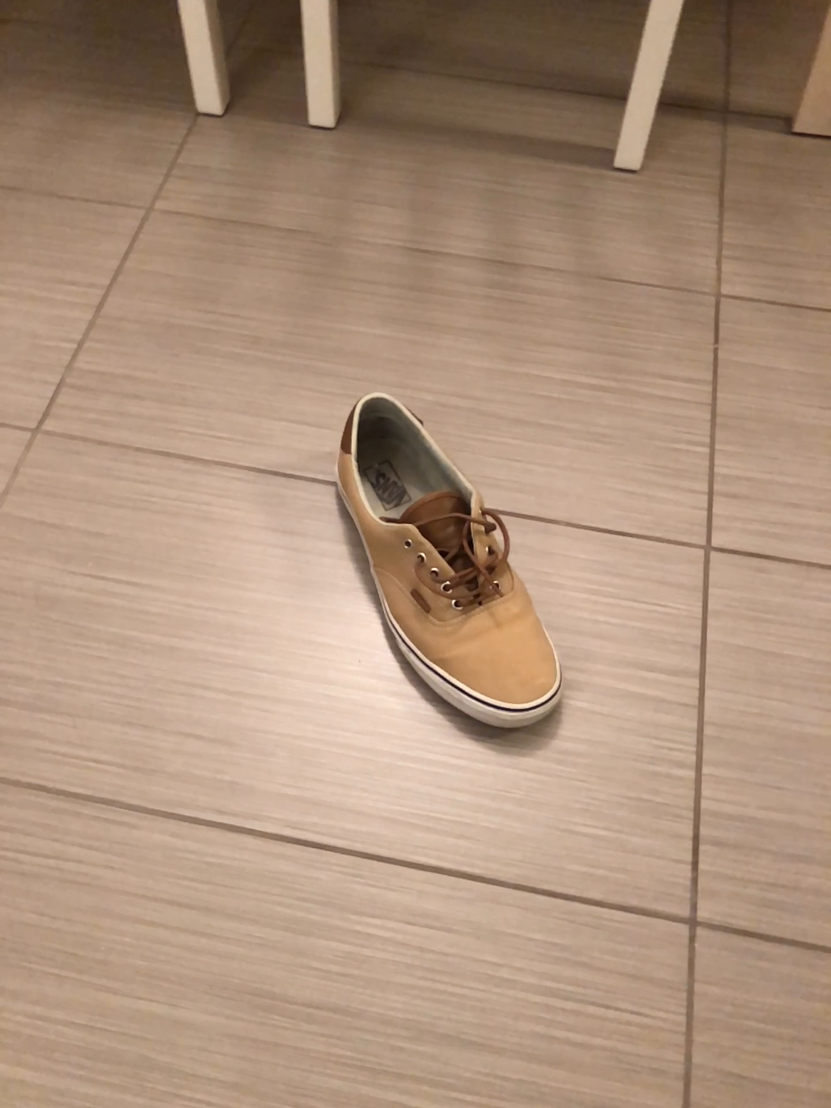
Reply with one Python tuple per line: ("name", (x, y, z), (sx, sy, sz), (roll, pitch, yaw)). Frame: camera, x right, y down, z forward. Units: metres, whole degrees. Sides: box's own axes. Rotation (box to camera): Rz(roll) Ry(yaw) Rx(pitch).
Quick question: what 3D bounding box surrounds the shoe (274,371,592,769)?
("shoe", (0.003, 0.001, 0.730), (0.110, 0.070, 0.311), (-24, 62, -14))
